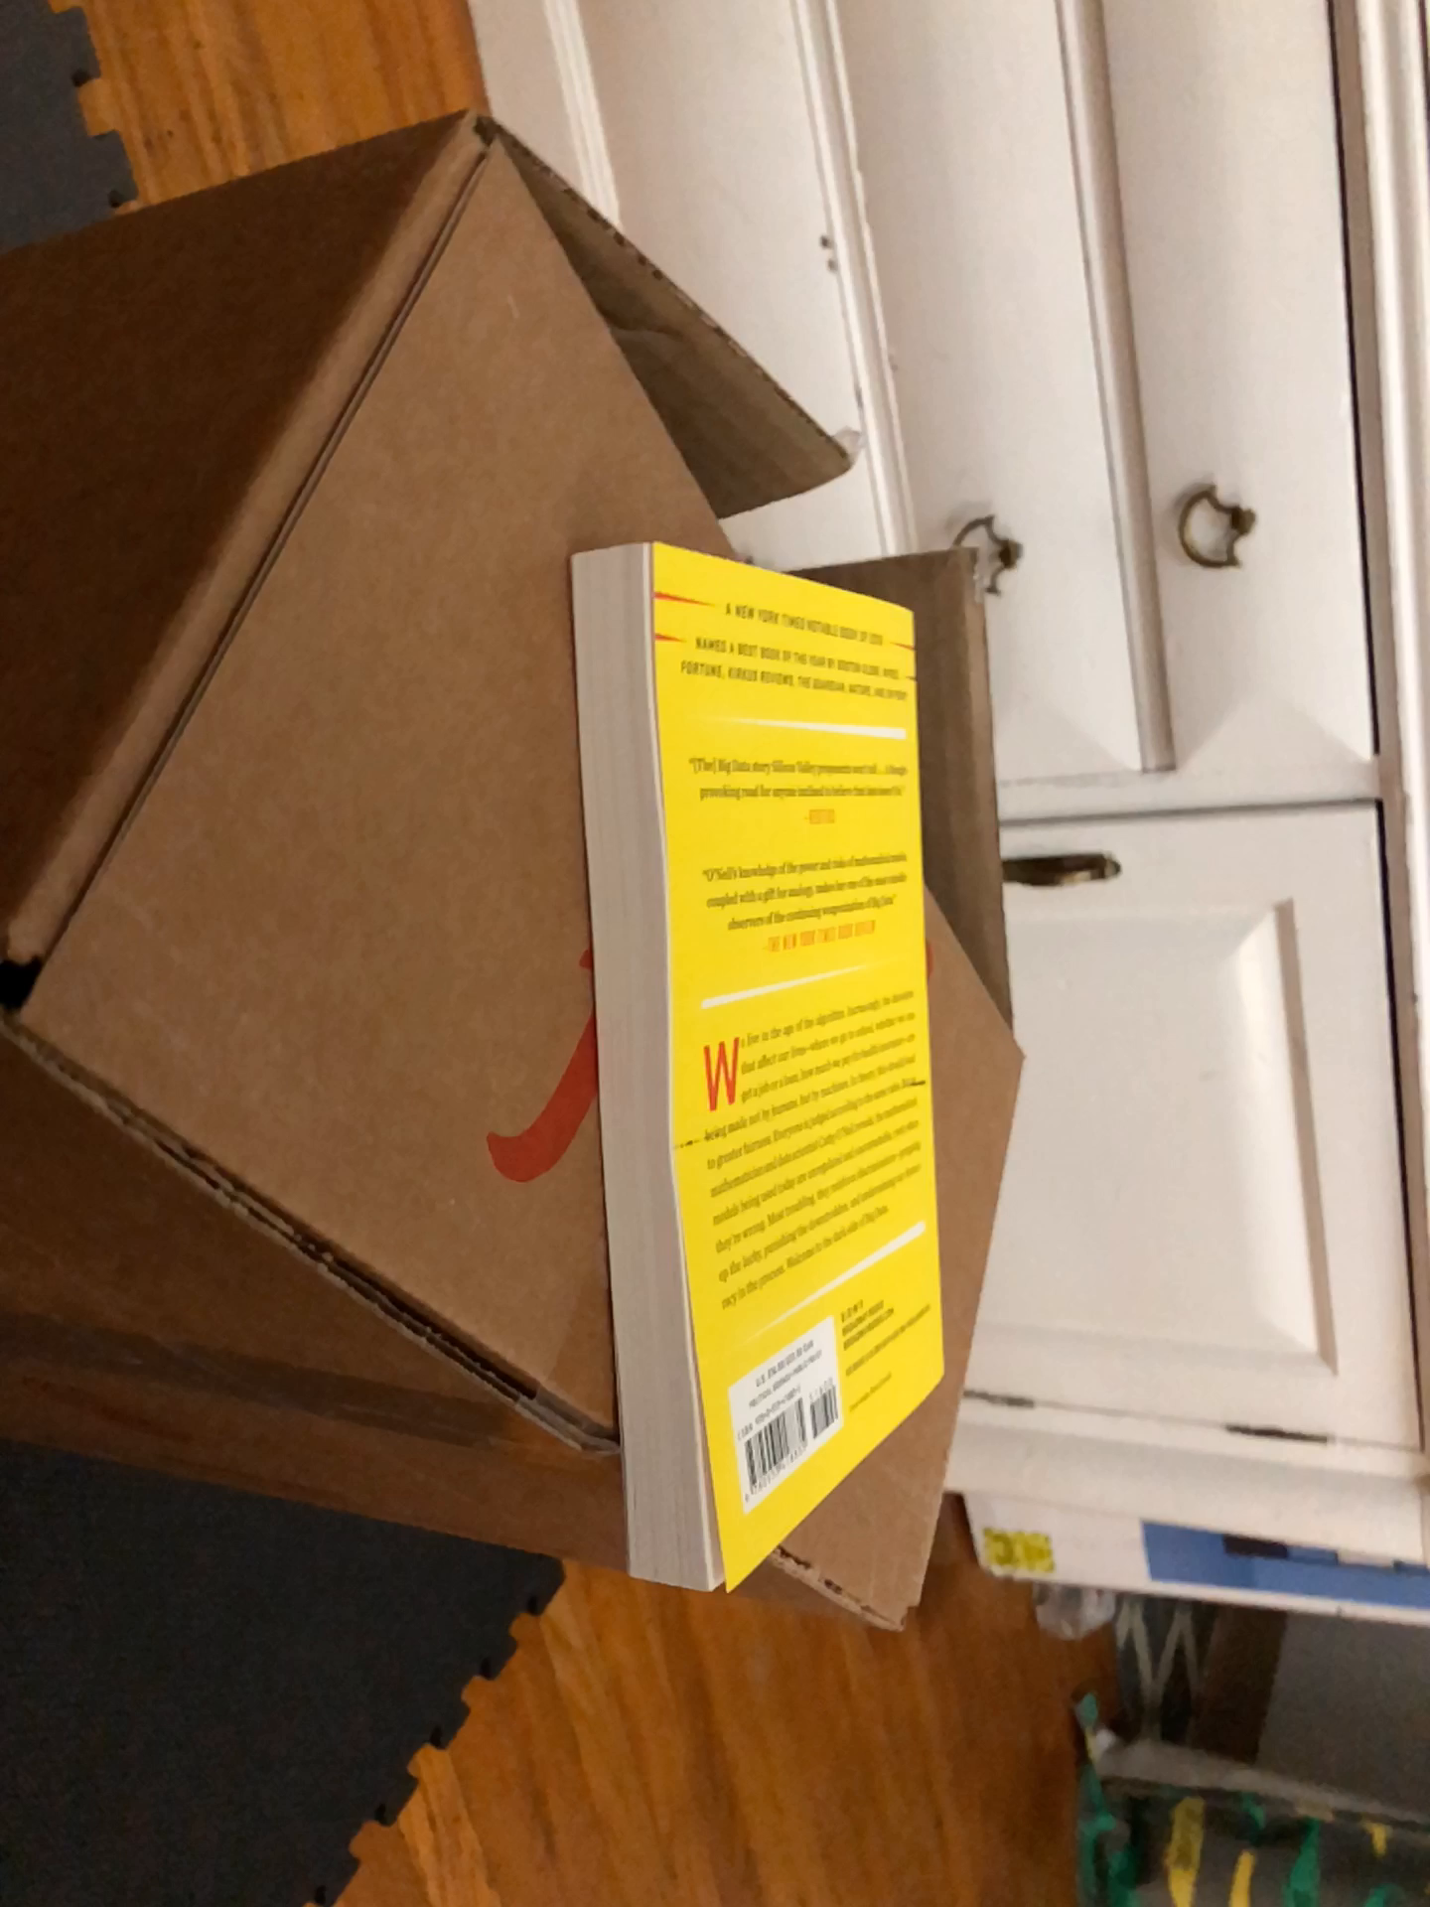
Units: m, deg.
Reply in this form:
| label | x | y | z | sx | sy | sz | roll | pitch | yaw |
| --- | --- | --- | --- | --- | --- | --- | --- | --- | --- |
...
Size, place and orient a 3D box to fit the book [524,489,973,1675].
| label | x | y | z | sx | sy | sz | roll | pitch | yaw |
| --- | --- | --- | --- | --- | --- | --- | --- | --- | --- |
| book | 0.017 | 0.019 | 0.361 | 0.151 | 0.020 | 0.220 | -12 | 99 | -60 |
